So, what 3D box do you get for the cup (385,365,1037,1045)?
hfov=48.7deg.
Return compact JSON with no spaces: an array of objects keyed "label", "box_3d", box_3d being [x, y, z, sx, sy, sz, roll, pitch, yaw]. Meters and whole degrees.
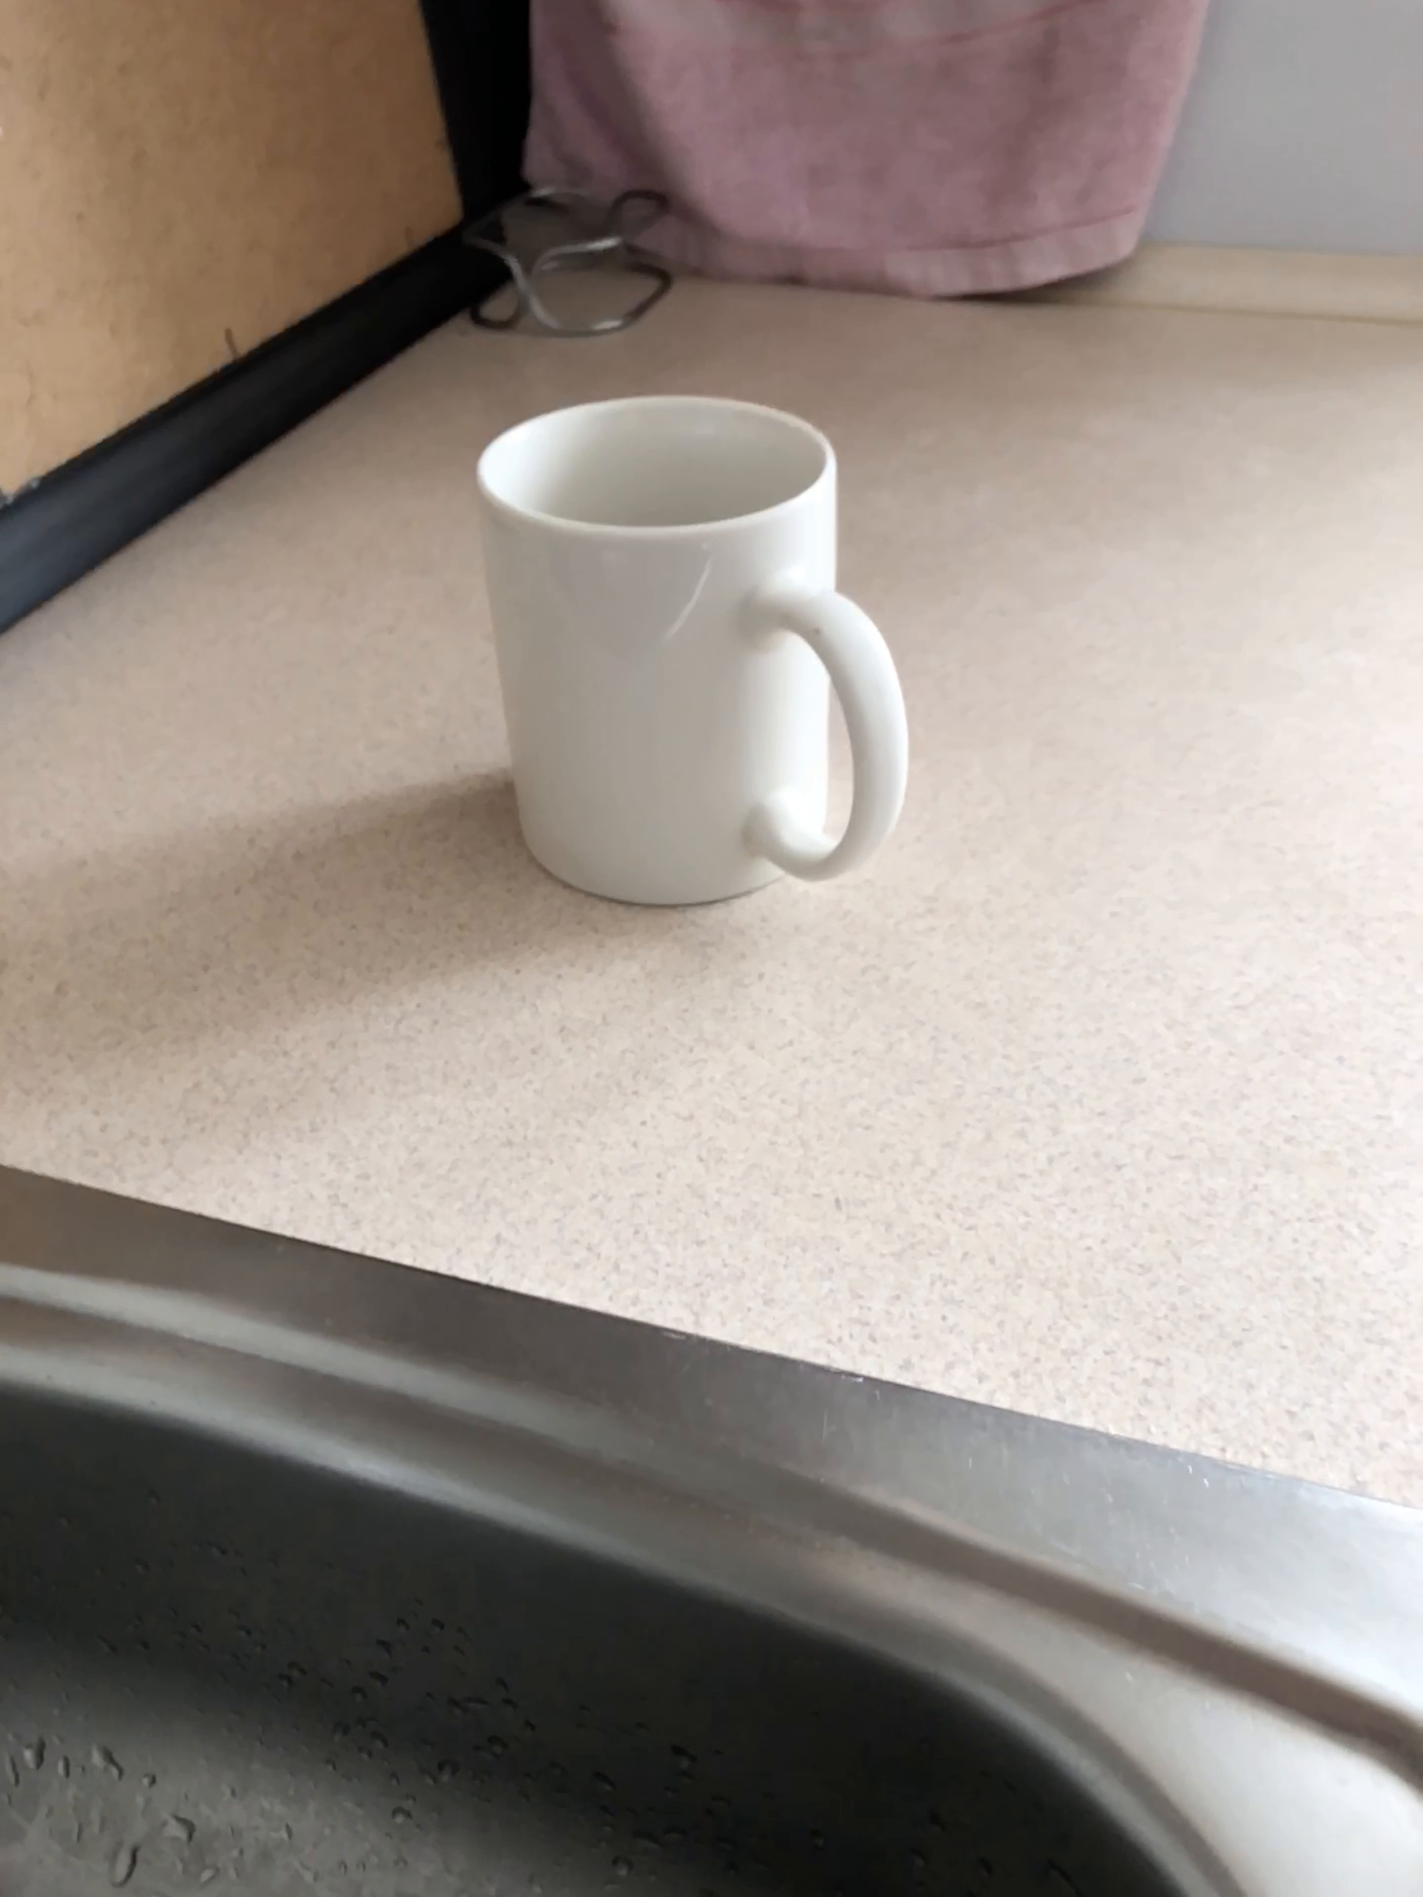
[{"label":"cup","box_3d":[-0.002,-0.063,0.370,0.084,0.099,0.121,-28,45,-29]}]
